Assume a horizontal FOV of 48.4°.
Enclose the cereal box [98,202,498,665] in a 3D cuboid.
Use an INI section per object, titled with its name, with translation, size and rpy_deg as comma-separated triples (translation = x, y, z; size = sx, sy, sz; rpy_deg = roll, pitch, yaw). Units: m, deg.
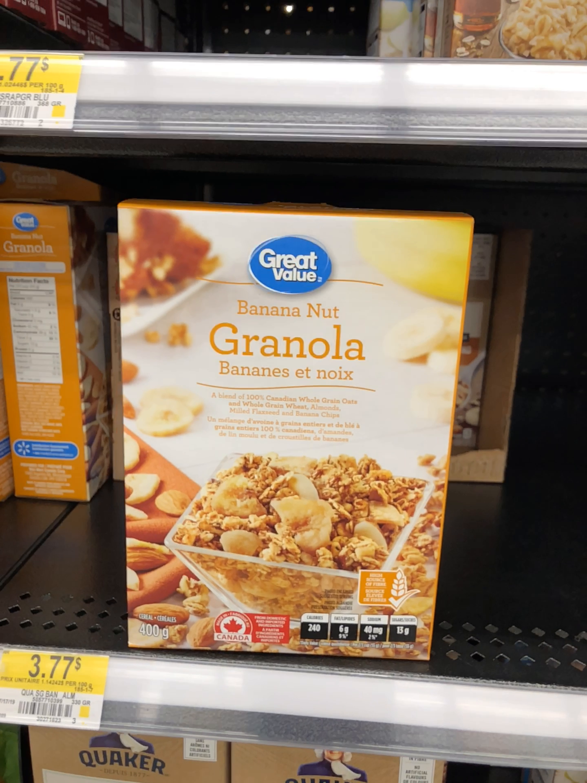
[cereal box]
translation = 0.000, 0.019, 0.318
size = 0.160, 0.209, 0.060
rpy_deg = 2, 16, 2
